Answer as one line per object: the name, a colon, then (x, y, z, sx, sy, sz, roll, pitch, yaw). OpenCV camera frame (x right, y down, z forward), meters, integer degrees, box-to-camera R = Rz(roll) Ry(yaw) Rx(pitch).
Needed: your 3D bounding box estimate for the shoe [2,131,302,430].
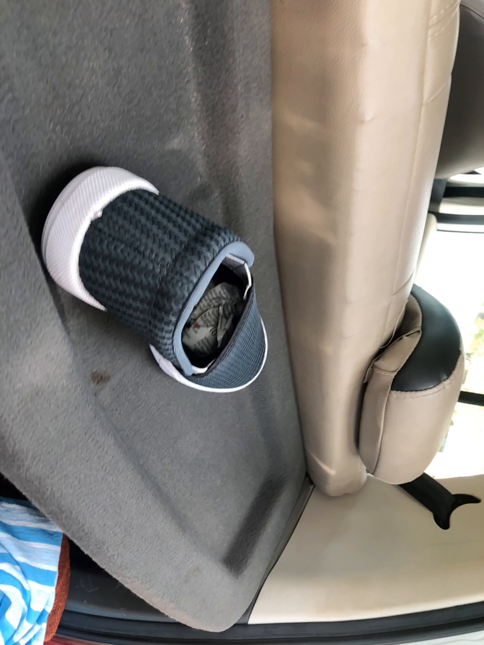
shoe: (-0.032, -0.004, 0.394, 0.080, 0.089, 0.282, -67, 158, -16)
